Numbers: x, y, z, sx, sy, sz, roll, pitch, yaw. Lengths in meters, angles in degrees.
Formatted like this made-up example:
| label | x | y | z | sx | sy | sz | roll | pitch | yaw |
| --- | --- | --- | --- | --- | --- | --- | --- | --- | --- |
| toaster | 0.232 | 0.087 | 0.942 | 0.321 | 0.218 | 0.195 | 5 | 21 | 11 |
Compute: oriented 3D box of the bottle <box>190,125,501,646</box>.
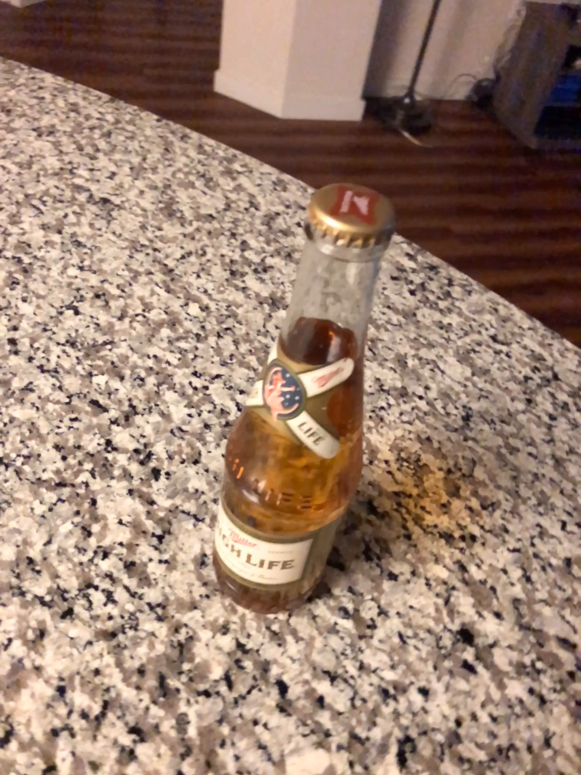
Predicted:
| label | x | y | z | sx | sy | sz | roll | pitch | yaw |
| --- | --- | --- | --- | --- | --- | --- | --- | --- | --- |
| bottle | 0.006 | 0.021 | 0.274 | 0.060 | 0.229 | 0.070 | 31 | 49 | 17 |
